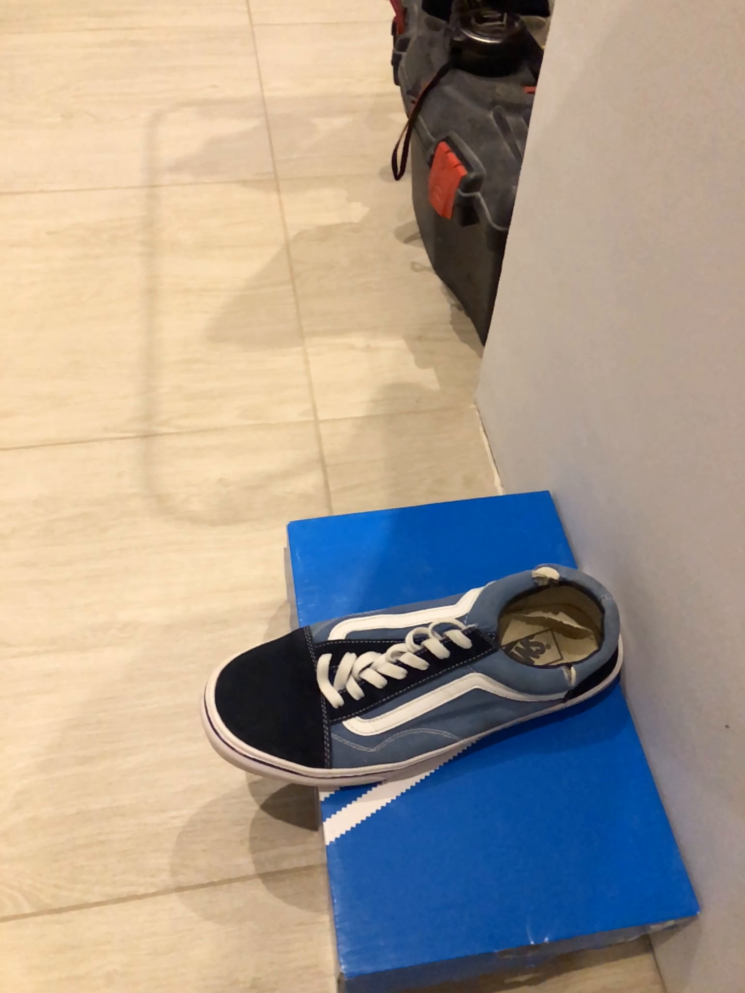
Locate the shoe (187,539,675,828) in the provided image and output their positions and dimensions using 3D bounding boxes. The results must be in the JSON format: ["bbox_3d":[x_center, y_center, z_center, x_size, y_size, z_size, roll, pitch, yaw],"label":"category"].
[{"bbox_3d":[0.032,0.118,0.531,0.280,0.080,0.111,-9,55,-10],"label":"shoe"}]
